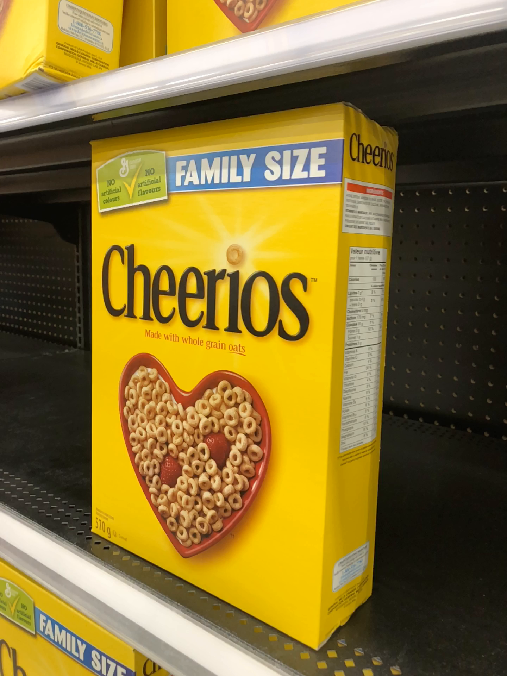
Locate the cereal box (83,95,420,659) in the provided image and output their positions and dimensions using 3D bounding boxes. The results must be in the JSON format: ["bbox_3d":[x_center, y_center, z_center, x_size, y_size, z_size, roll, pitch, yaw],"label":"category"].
[{"bbox_3d":[-0.017,0.015,0.434,0.240,0.339,0.090,9,11,36],"label":"cereal box"}]
